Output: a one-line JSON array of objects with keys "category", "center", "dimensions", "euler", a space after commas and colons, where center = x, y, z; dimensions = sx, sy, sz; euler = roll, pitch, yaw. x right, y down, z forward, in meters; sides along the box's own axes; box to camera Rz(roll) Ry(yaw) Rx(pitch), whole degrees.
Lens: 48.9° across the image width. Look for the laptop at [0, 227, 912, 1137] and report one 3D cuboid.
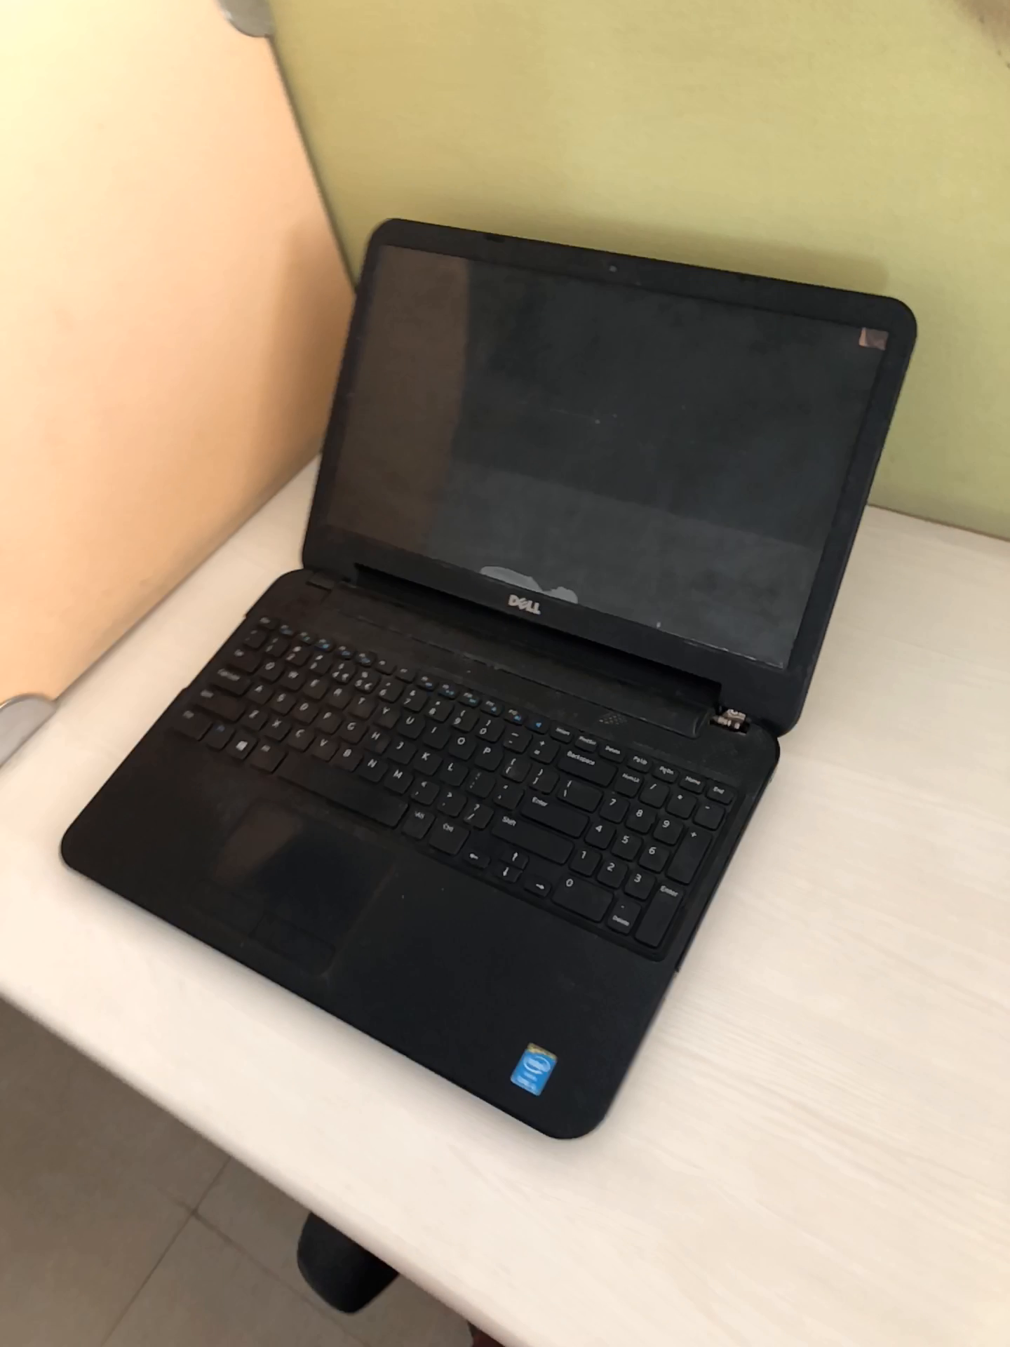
[{"category": "laptop", "center": [-0.025, -0.042, 0.635], "dimensions": [0.357, 0.165, 0.425], "euler": [19, 58, 26]}]
